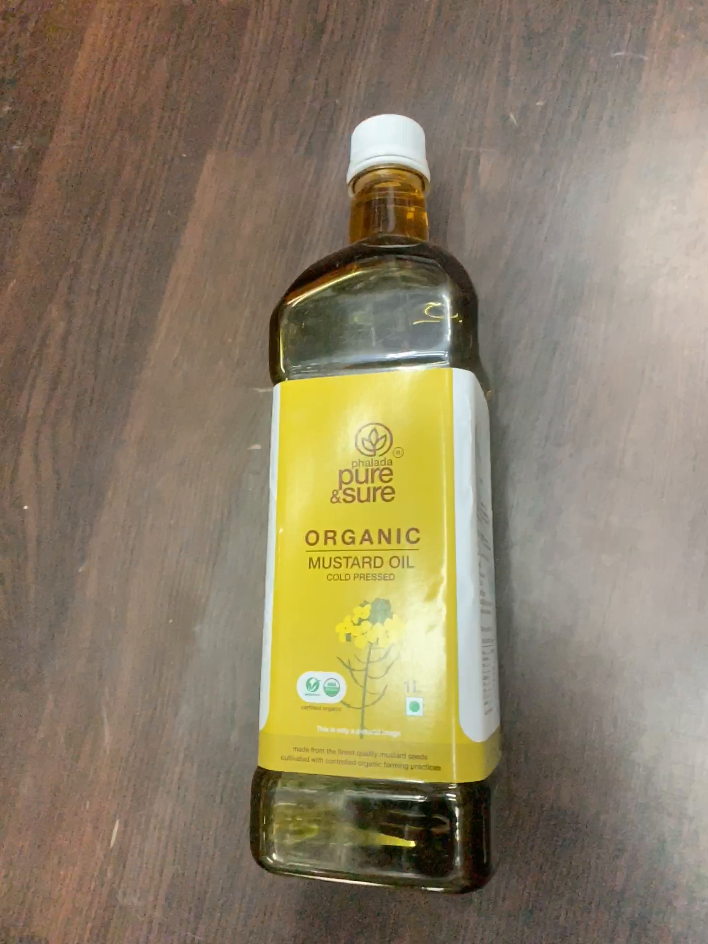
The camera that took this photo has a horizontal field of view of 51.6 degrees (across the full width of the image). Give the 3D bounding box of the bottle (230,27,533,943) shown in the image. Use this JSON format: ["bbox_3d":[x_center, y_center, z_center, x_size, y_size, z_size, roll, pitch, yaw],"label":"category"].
[{"bbox_3d":[0.018,-0.004,0.260,0.080,0.080,0.270,-2,78,16],"label":"bottle"}]
